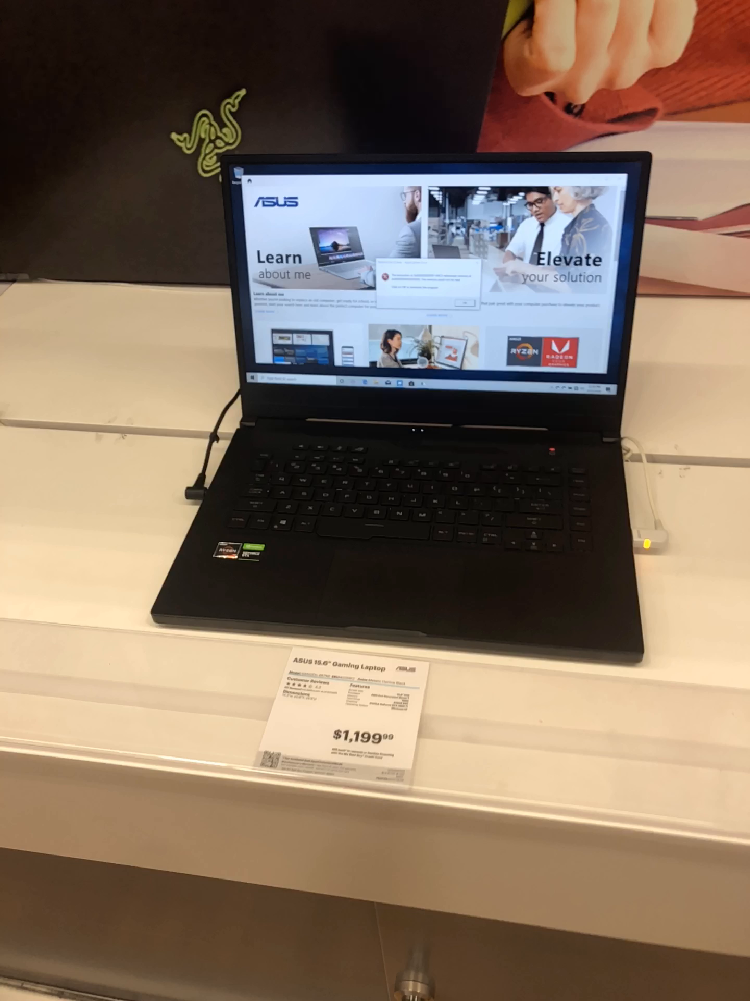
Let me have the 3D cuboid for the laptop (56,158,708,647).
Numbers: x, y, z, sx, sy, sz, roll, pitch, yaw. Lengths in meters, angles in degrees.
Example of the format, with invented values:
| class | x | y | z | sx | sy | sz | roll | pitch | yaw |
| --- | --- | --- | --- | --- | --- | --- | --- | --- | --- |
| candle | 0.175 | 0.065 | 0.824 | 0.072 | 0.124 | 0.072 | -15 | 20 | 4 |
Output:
| class | x | y | z | sx | sy | sz | roll | pitch | yaw |
| --- | --- | --- | --- | --- | --- | --- | --- | --- | --- |
| laptop | 0.025 | -0.094 | 0.627 | 0.351 | 0.222 | 0.311 | 3 | 41 | 9 |
